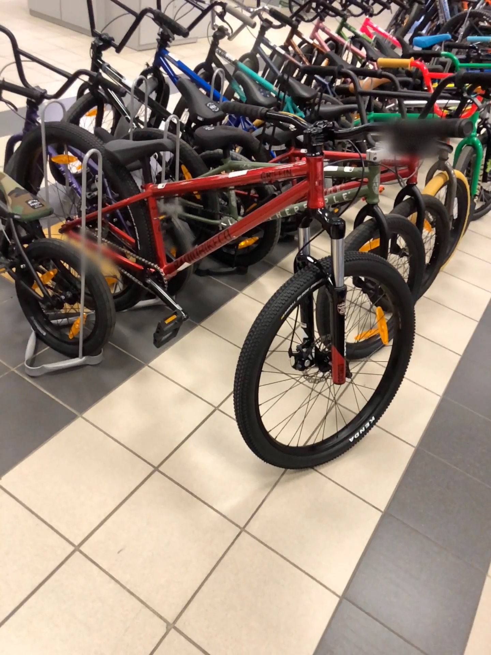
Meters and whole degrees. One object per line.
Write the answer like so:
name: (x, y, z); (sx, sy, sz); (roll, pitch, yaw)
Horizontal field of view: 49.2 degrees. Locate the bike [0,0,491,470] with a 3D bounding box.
bike: (-0.176, -0.377, 1.623); (1.337, 0.997, 0.715); (22, 38, 14)
